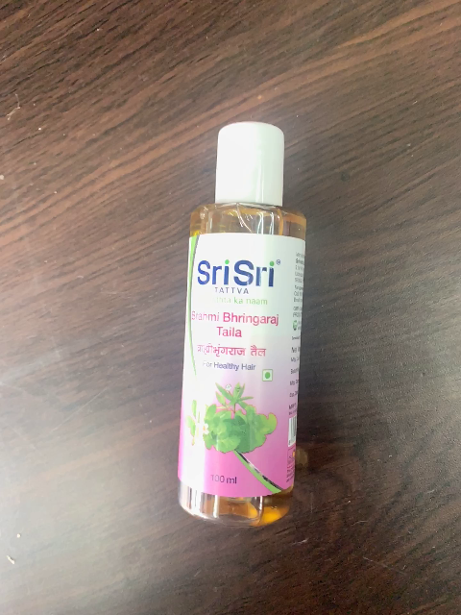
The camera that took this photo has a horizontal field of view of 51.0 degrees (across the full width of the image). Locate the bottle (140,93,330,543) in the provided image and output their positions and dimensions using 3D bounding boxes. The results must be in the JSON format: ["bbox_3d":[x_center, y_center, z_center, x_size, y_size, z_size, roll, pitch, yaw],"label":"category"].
[{"bbox_3d":[0.004,0.002,0.164,0.050,0.040,0.130,3,90,11],"label":"bottle"}]
